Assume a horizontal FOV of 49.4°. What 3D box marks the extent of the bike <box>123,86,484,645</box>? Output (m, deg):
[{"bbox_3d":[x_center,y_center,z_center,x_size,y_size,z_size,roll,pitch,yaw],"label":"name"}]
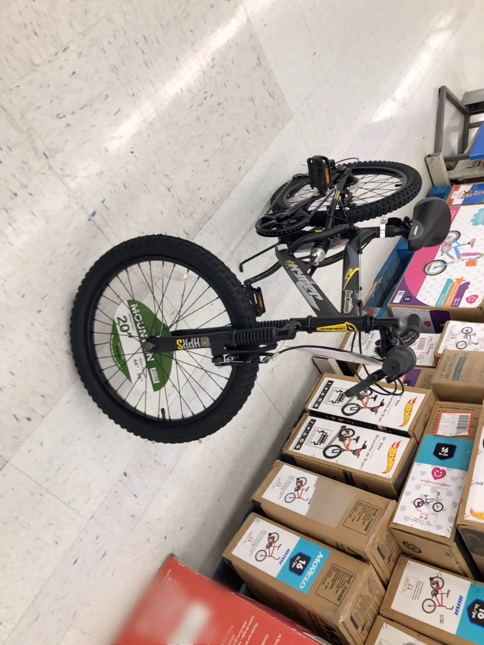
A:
[{"bbox_3d":[0.377,-0.020,1.517,1.261,0.849,0.524,-53,129,-34],"label":"bike"}]
